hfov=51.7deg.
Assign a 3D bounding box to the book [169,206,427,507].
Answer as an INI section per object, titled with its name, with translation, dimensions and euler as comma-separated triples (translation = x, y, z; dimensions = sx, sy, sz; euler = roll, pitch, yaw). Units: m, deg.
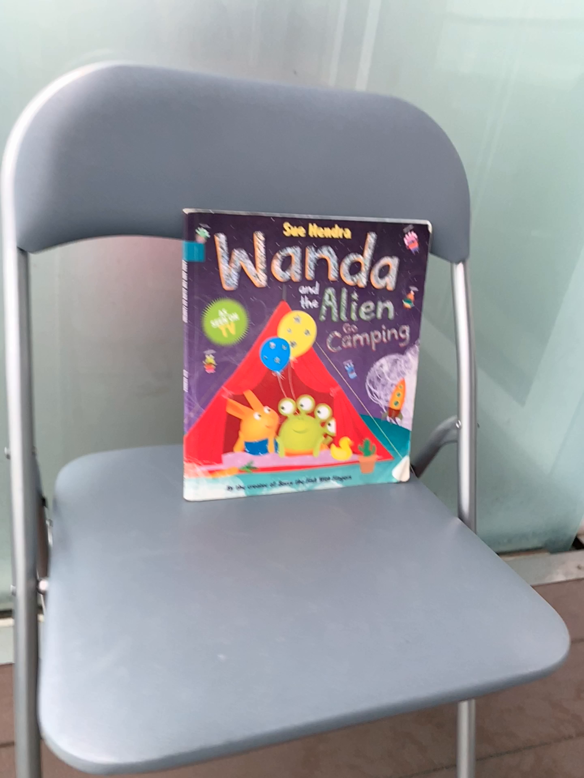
[book]
translation = 0.002, -0.027, 0.574
dimensions = 0.230, 0.268, 0.030
euler = -2, 17, -18
